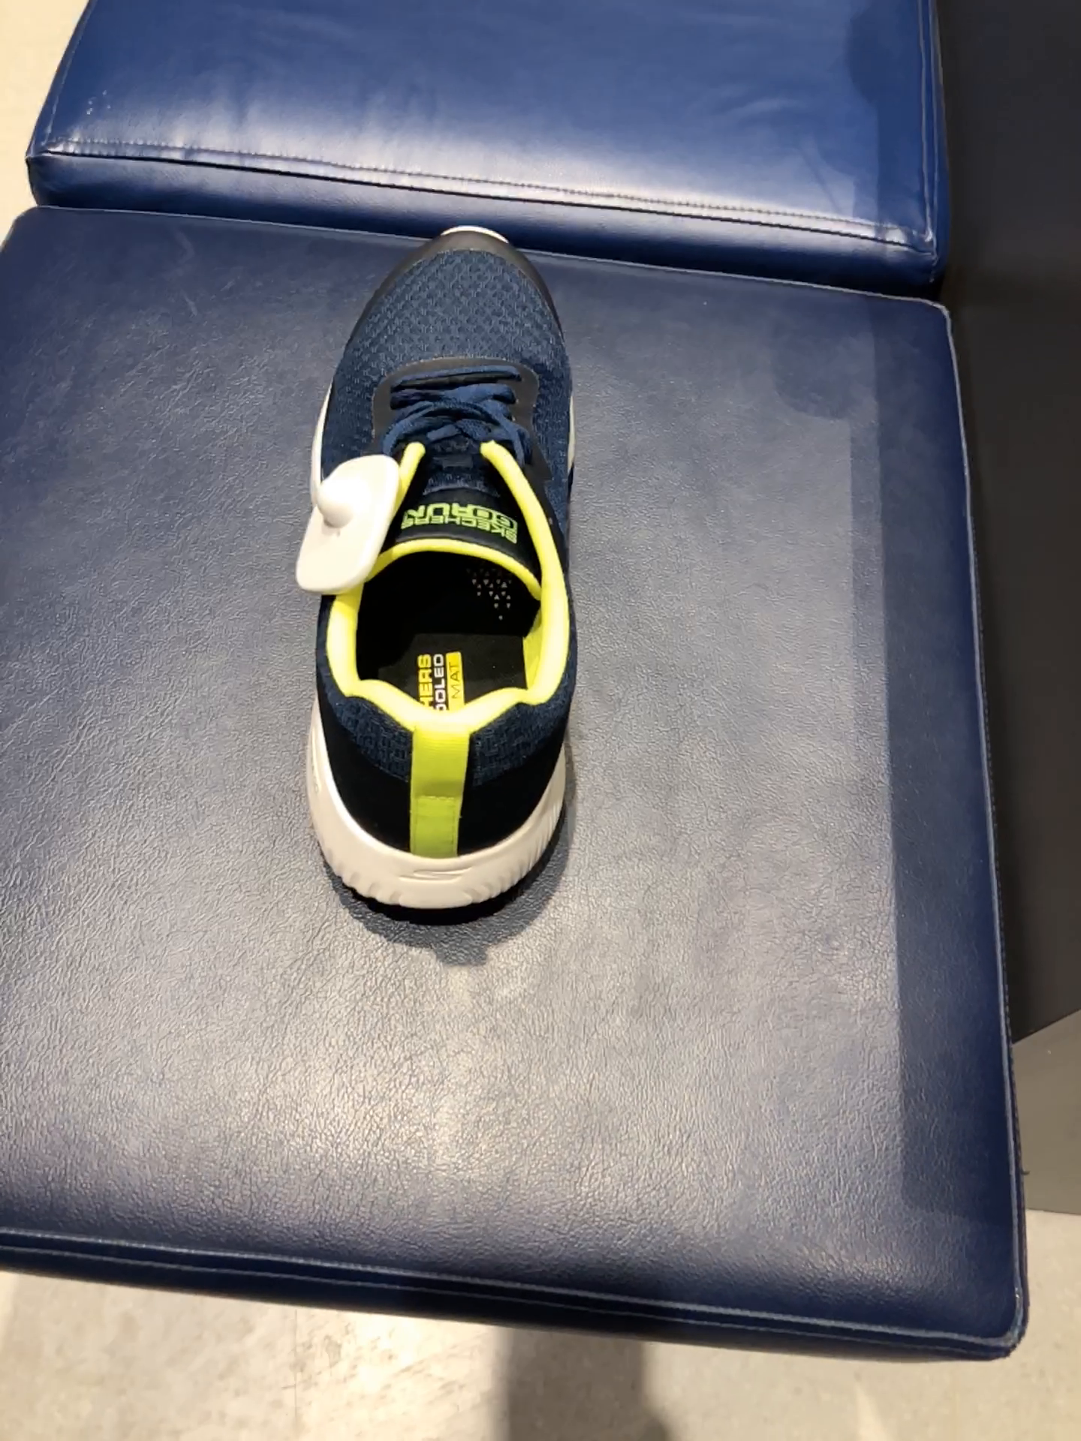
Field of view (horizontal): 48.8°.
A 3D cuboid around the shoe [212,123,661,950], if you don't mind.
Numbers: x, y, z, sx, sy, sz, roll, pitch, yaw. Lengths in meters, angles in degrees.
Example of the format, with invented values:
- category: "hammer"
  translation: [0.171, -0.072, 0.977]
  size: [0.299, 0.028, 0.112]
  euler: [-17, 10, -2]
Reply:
- category: "shoe"
  translation: [-0.034, -0.064, 0.417]
  size: [0.113, 0.131, 0.256]
  euler: [-1, 64, -4]
